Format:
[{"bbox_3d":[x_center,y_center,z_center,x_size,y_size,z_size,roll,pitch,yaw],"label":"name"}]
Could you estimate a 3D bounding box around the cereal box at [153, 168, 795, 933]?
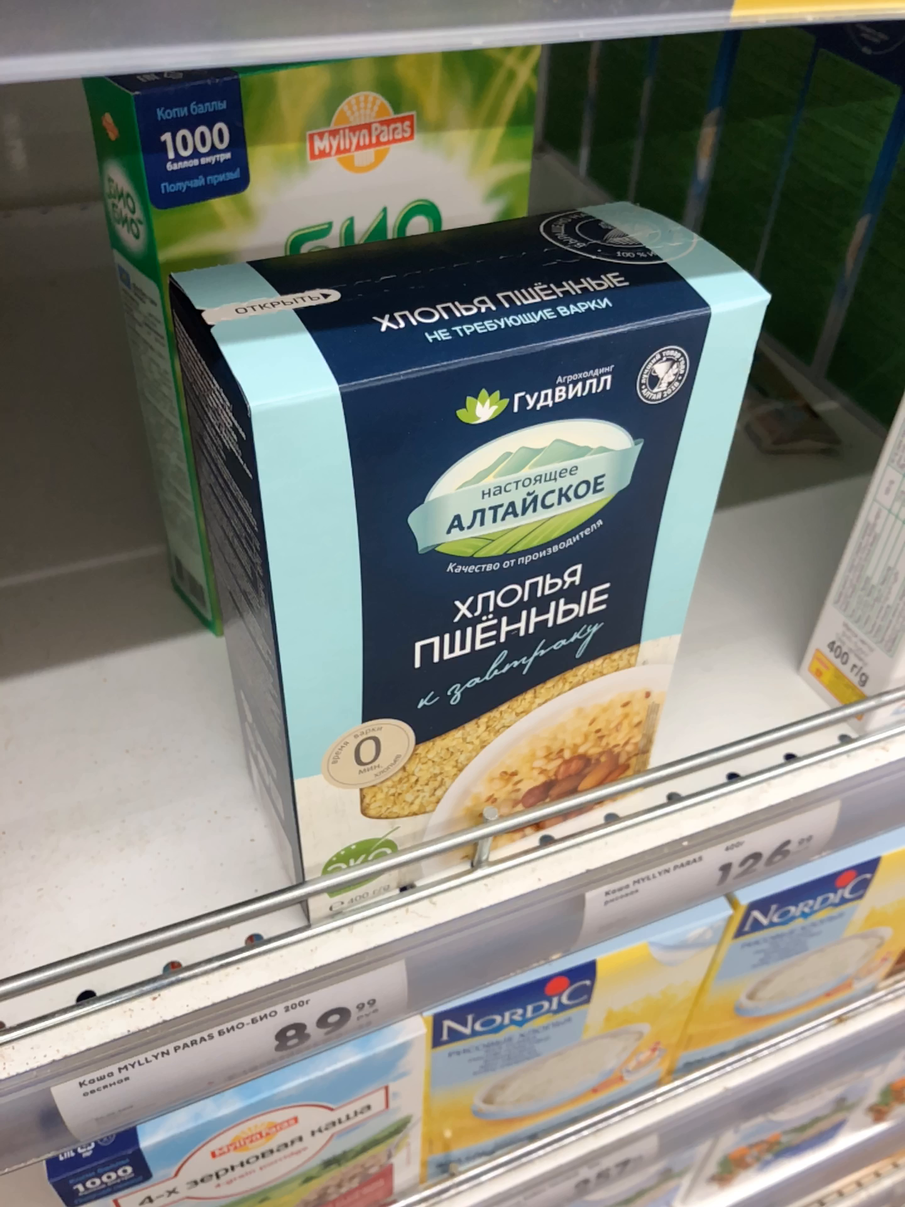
[{"bbox_3d":[0.002,-0.006,0.293,0.130,0.199,0.060,-17,46,-20],"label":"cereal box"}]
